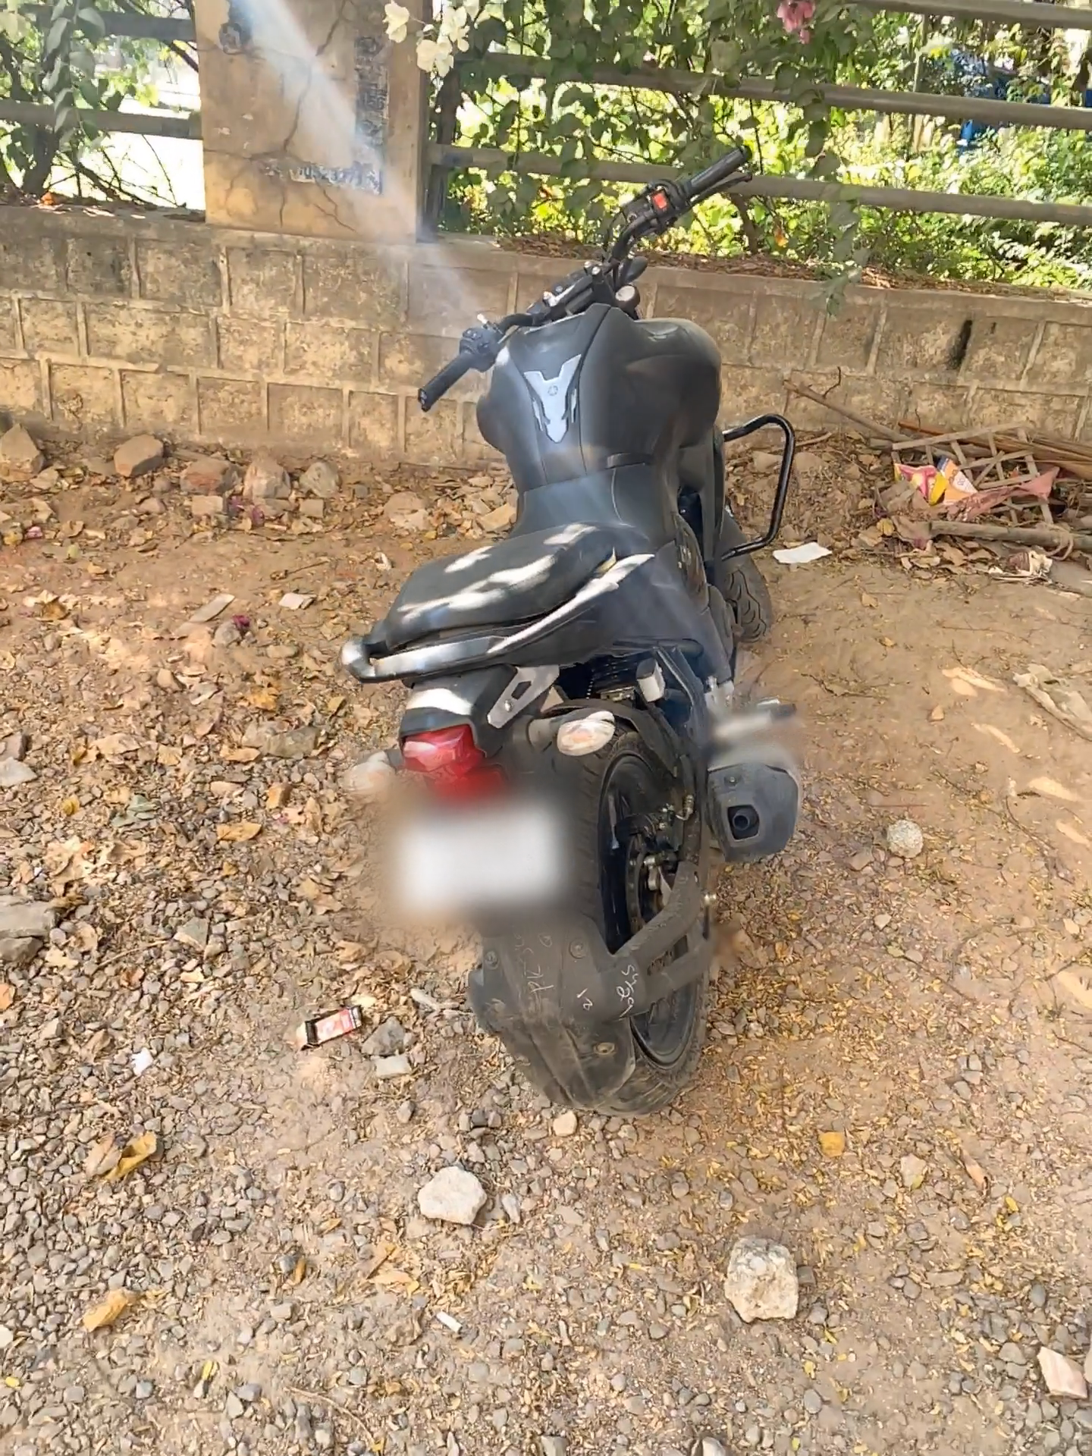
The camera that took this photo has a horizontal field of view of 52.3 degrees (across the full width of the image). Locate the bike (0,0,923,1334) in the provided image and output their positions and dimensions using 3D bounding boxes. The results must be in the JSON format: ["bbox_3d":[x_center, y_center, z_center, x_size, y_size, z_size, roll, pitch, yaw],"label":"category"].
[{"bbox_3d":[-0.089,-0.357,1.994,0.818,1.498,1.764,7,34,2],"label":"bike"}]
